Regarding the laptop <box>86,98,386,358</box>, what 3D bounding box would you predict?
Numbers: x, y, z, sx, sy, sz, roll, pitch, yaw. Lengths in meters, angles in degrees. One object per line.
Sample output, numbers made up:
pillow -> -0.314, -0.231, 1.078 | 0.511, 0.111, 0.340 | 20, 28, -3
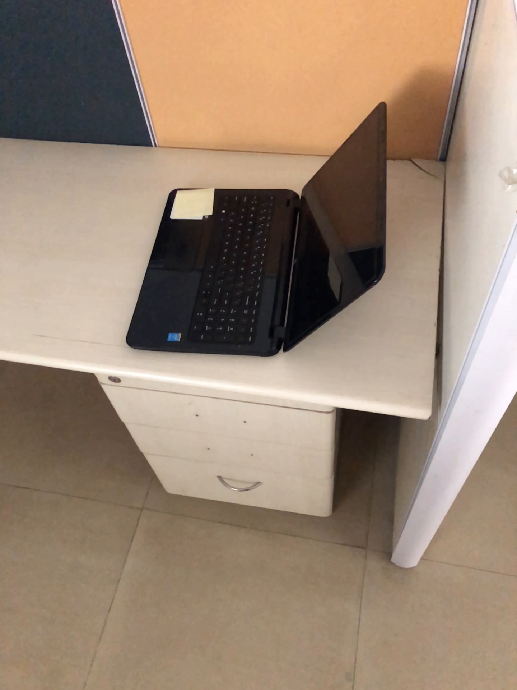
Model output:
laptop -> -0.005, -0.211, 0.968 | 0.415, 0.204, 0.393 | 3, 56, 8
